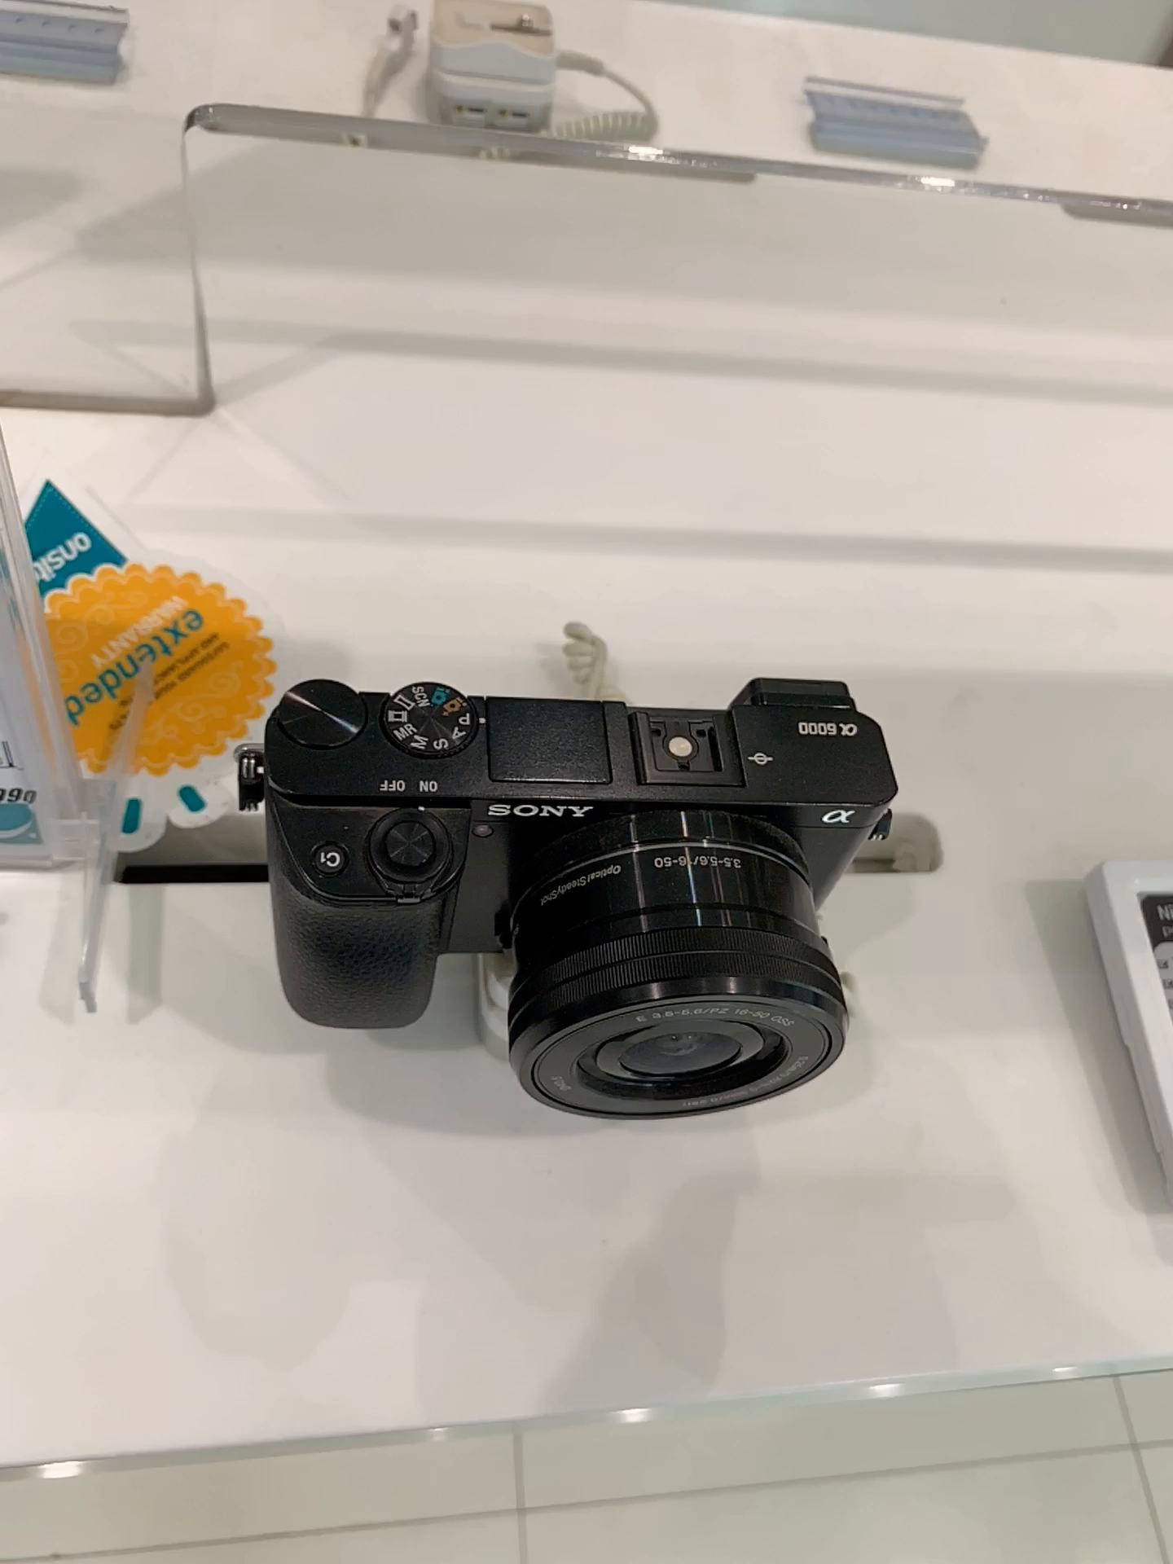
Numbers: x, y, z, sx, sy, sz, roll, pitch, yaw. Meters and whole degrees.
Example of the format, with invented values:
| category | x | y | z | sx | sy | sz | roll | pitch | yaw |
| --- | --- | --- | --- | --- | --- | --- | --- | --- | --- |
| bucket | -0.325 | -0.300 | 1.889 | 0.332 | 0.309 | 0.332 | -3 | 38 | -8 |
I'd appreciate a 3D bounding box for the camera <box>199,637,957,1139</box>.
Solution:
| category | x | y | z | sx | sy | sz | roll | pitch | yaw |
| --- | --- | --- | --- | --- | --- | --- | --- | --- | --- |
| camera | -0.006 | 0.020 | 0.206 | 0.104 | 0.063 | 0.058 | 1 | 58 | -11 |
